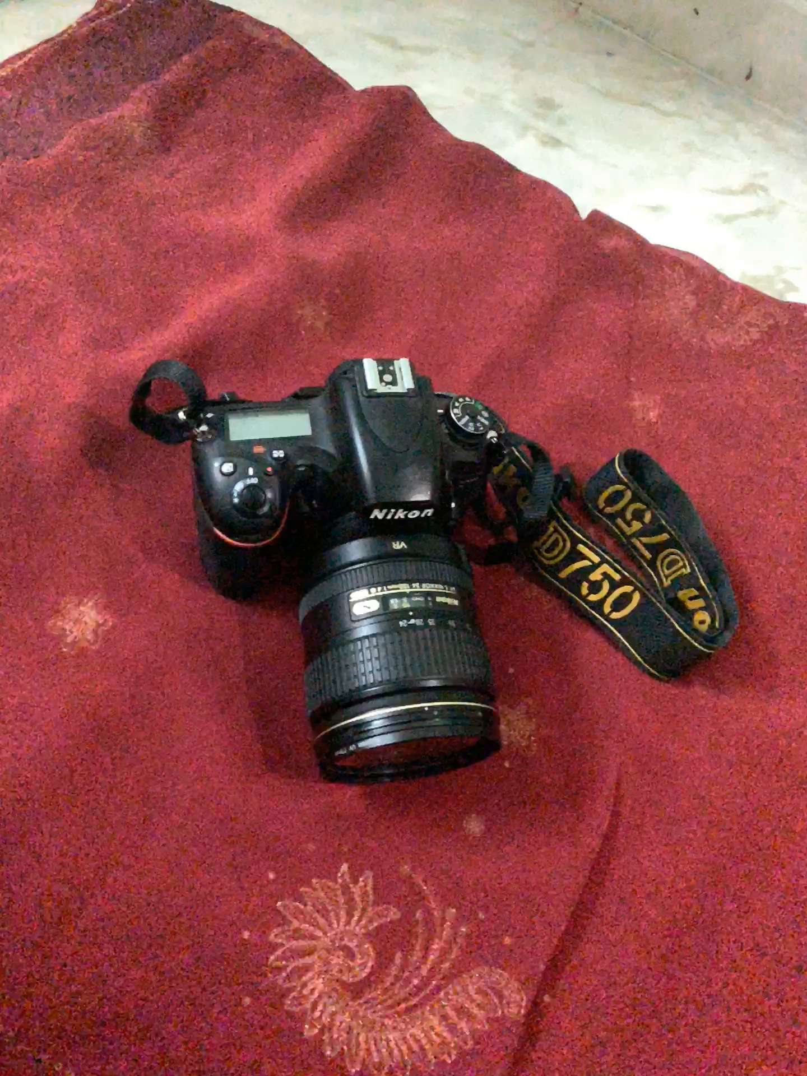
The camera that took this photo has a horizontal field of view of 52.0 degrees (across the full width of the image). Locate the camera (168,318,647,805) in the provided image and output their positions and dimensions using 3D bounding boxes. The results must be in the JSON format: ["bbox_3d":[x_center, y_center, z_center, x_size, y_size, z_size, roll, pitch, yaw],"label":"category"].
[{"bbox_3d":[-0.013,0.008,0.343,0.150,0.110,0.160,-3,62,-12],"label":"camera"}]
